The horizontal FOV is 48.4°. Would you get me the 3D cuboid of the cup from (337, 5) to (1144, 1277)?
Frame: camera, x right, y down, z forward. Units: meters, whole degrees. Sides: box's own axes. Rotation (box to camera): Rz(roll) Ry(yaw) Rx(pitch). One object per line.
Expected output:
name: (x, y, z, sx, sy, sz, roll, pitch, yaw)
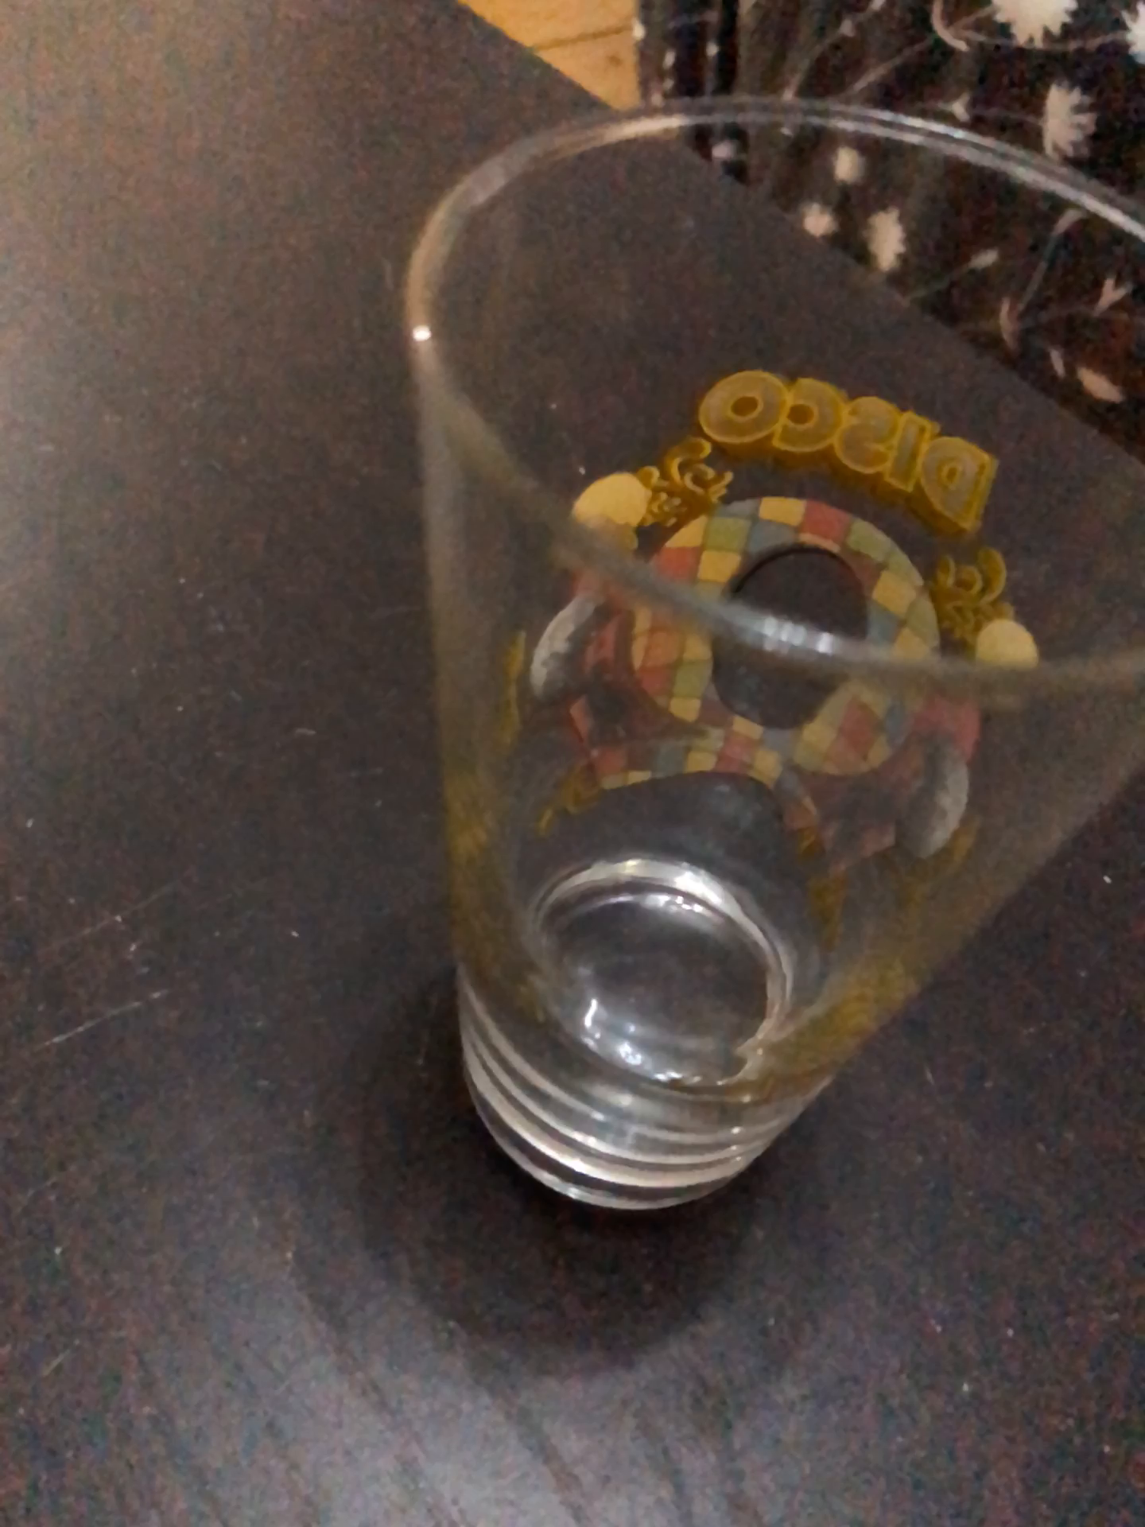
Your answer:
cup: (0.023, -0.005, 0.147, 0.080, 0.109, 0.080, 4, 51, -5)
